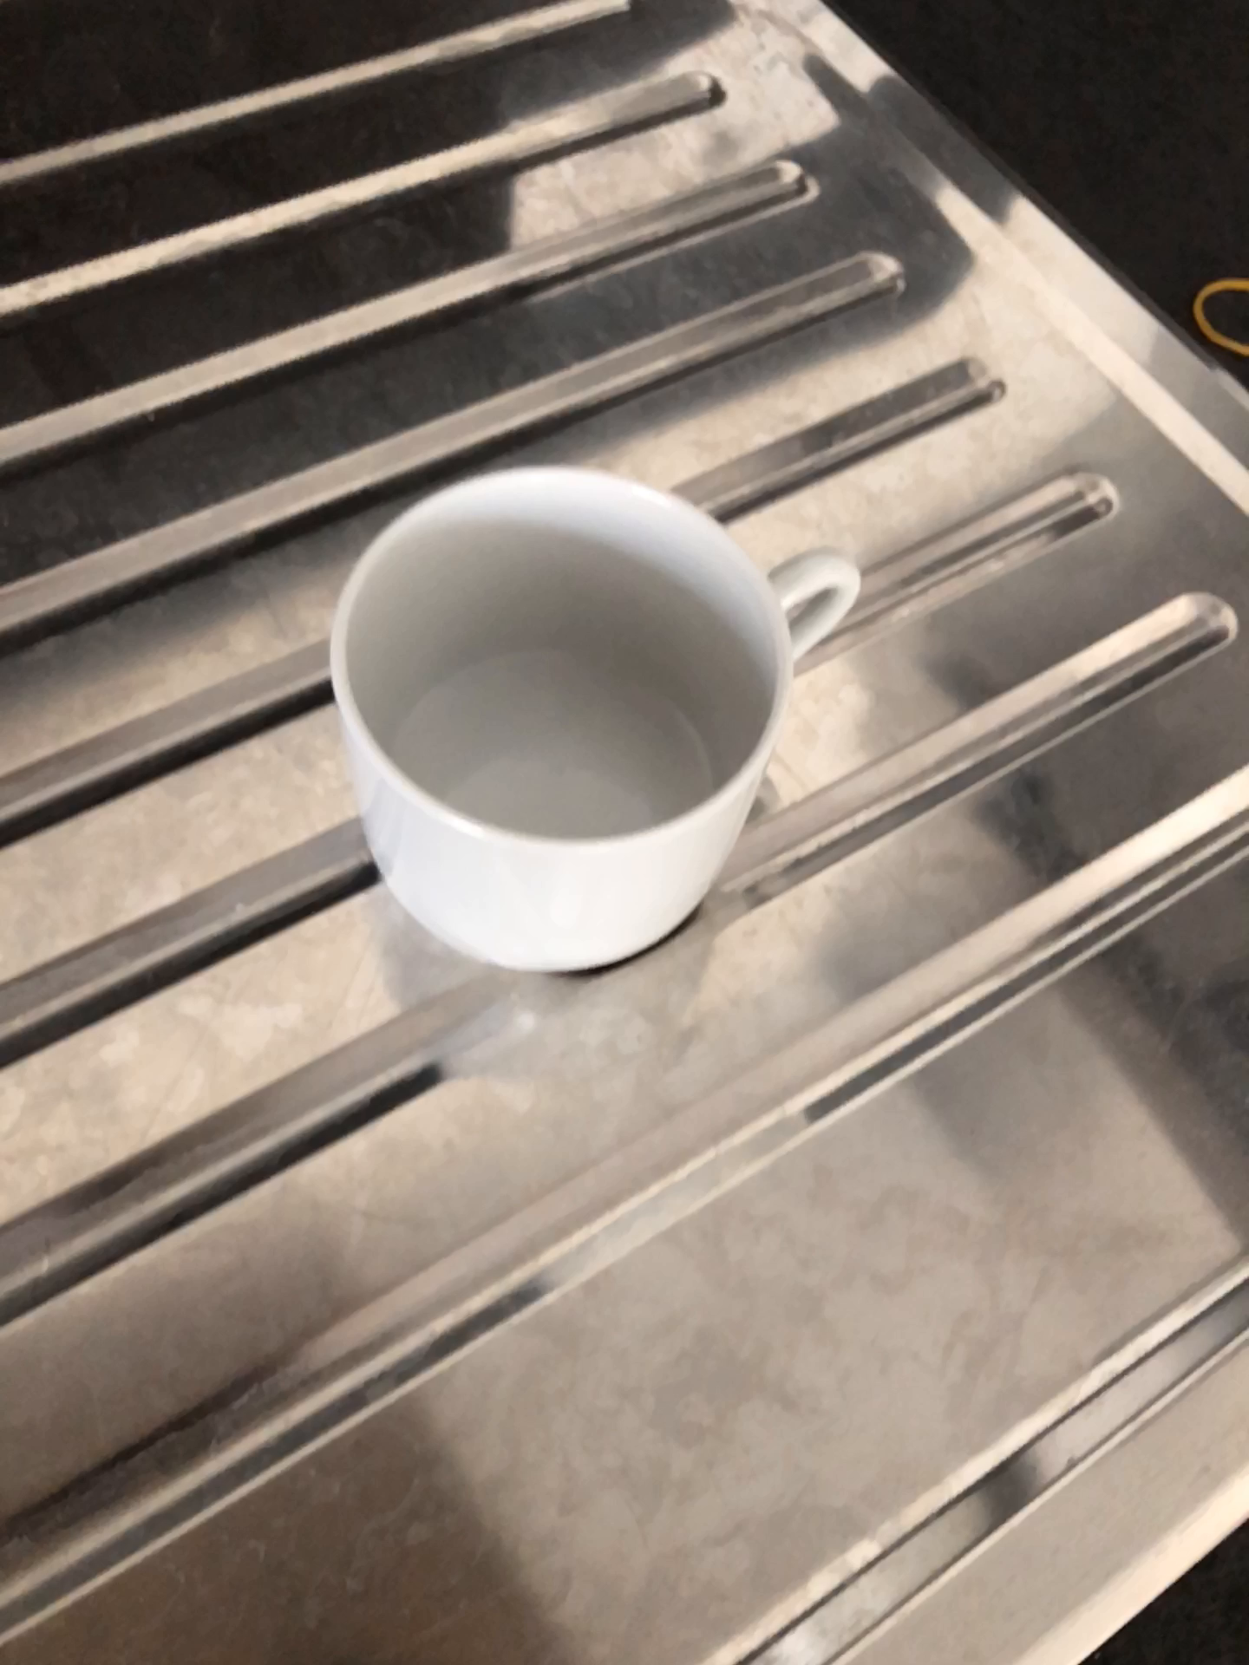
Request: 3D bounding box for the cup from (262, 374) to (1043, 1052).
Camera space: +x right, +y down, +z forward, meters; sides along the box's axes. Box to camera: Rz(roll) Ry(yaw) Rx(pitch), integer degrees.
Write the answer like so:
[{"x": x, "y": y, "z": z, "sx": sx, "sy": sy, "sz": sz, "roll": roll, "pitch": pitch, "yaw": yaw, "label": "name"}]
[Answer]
[{"x": 0.001, "y": -0.024, "z": 0.262, "sx": 0.110, "sy": 0.060, "sz": 0.080, "roll": -19, "pitch": 65, "yaw": -17, "label": "cup"}]
